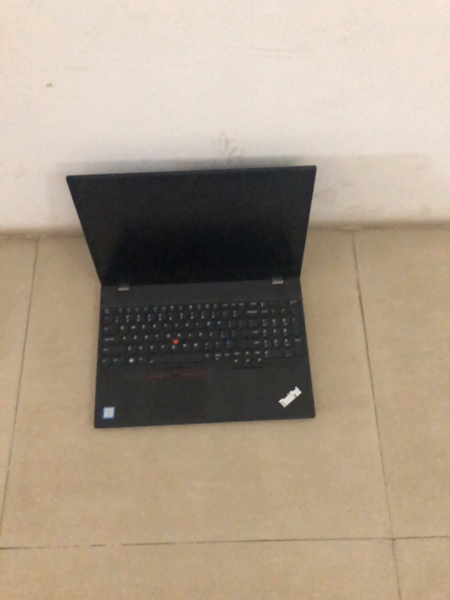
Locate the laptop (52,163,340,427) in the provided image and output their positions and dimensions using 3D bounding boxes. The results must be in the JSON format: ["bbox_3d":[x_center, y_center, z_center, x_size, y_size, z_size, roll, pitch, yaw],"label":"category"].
[{"bbox_3d":[-0.042,0.004,0.759,0.351,0.215,0.327,-3,70,-1],"label":"laptop"}]
